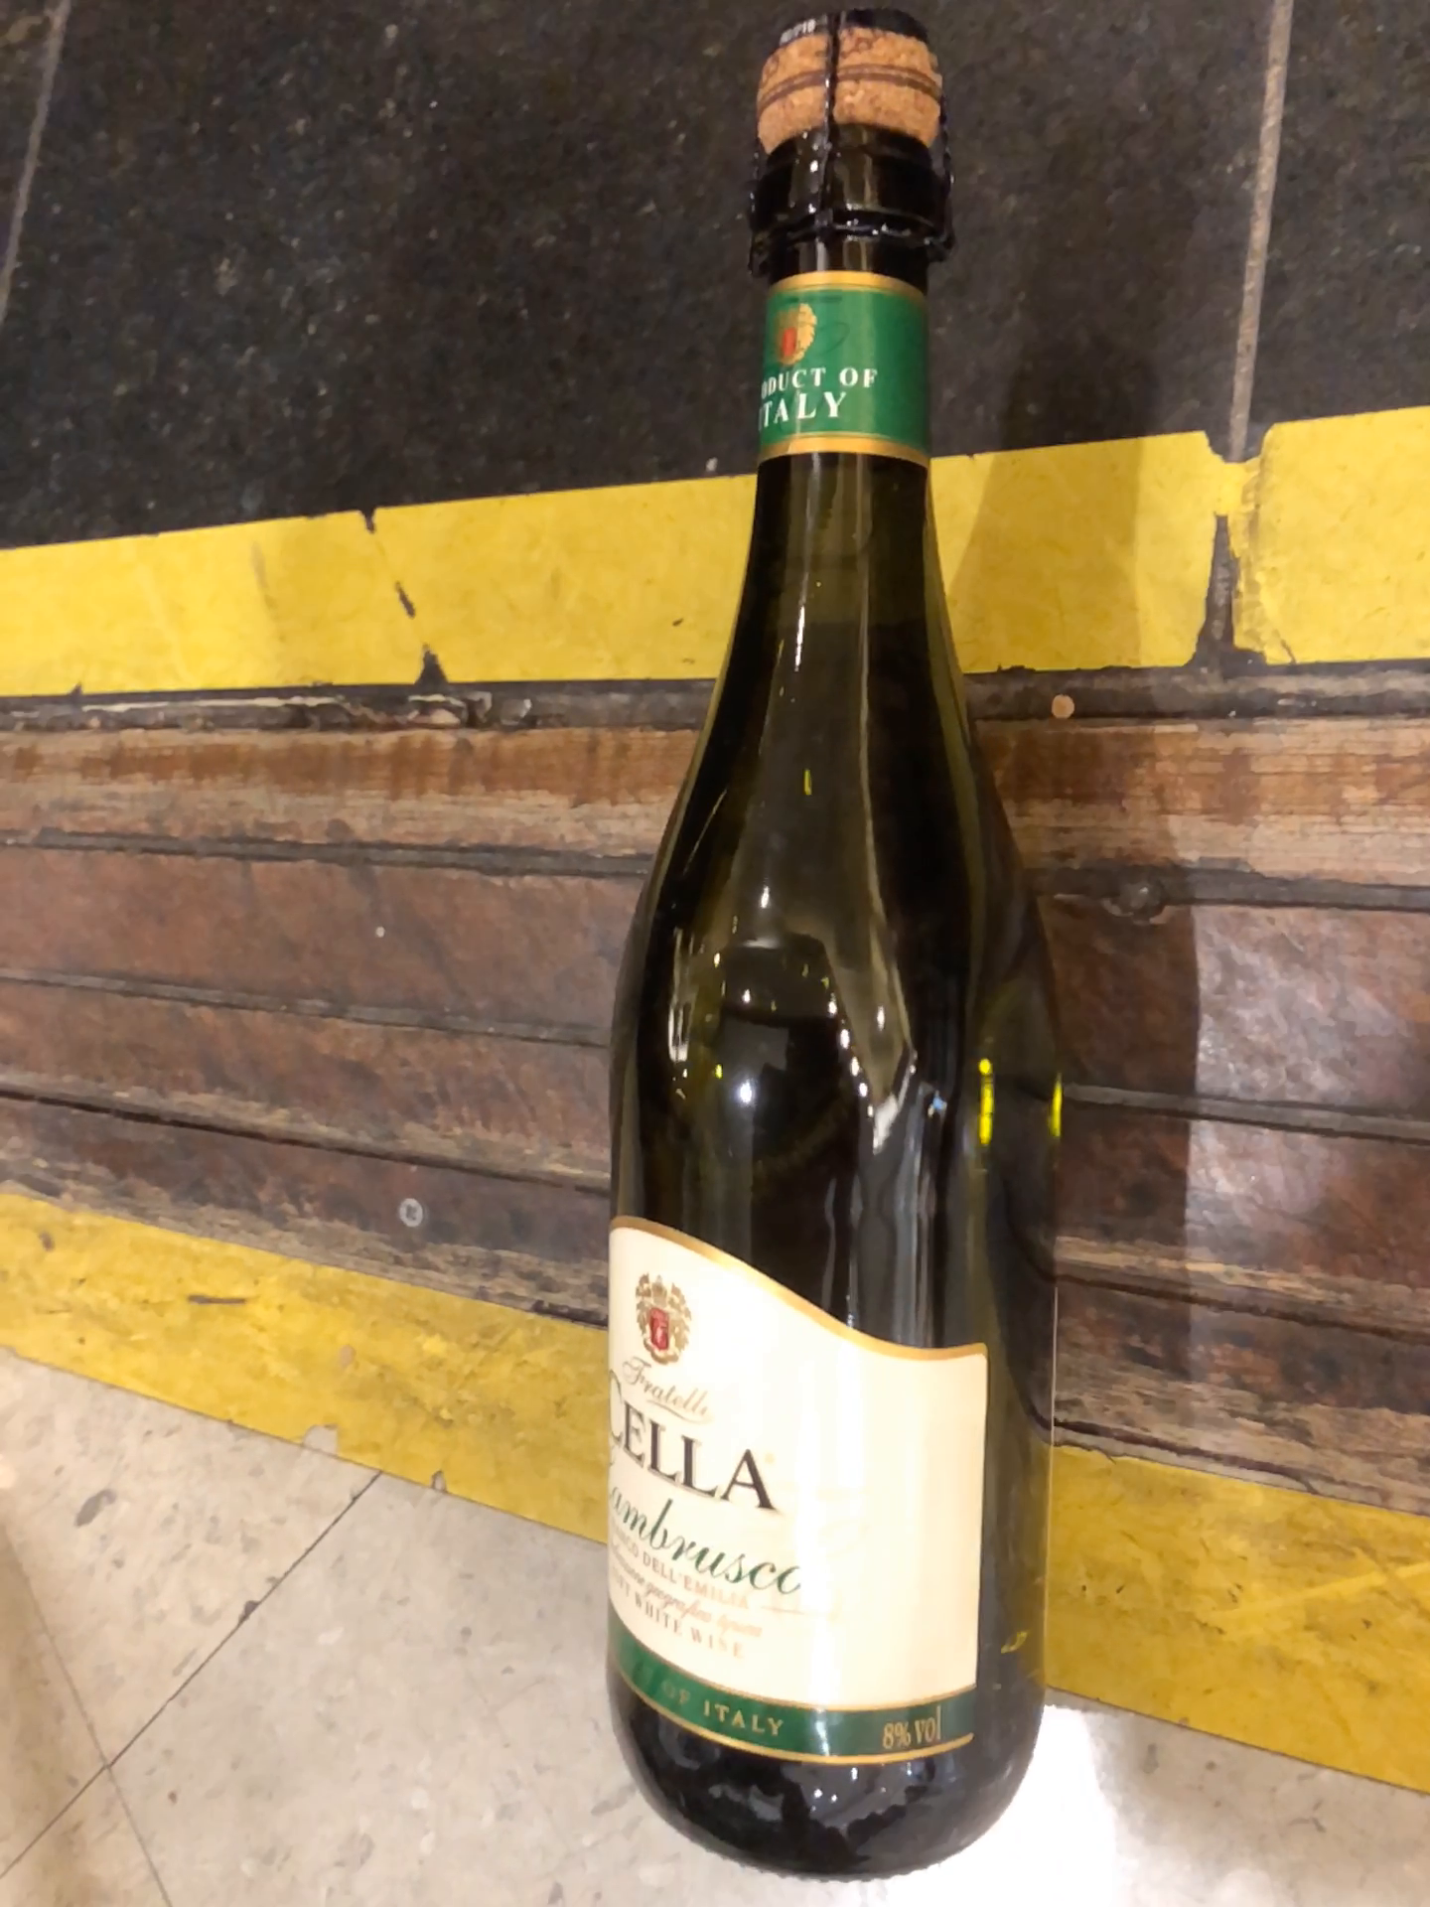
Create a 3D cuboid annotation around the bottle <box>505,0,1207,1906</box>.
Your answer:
[{"bbox_3d":[0.019,0.001,0.265,0.090,0.060,0.310,6,99,31],"label":"bottle"}]
